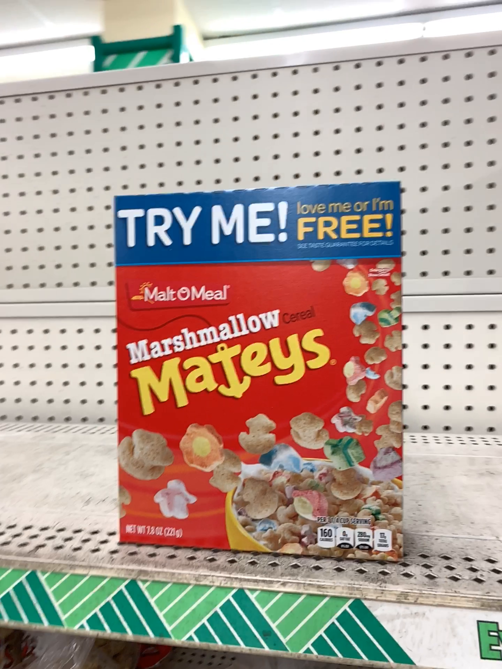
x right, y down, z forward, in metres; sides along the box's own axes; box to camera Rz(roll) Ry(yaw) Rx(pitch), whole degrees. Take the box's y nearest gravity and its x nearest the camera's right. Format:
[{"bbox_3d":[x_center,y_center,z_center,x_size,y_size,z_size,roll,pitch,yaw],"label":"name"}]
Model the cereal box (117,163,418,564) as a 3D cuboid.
[{"bbox_3d":[0.011,0.018,0.340,0.180,0.230,0.050,-1,2,12],"label":"cereal box"}]
